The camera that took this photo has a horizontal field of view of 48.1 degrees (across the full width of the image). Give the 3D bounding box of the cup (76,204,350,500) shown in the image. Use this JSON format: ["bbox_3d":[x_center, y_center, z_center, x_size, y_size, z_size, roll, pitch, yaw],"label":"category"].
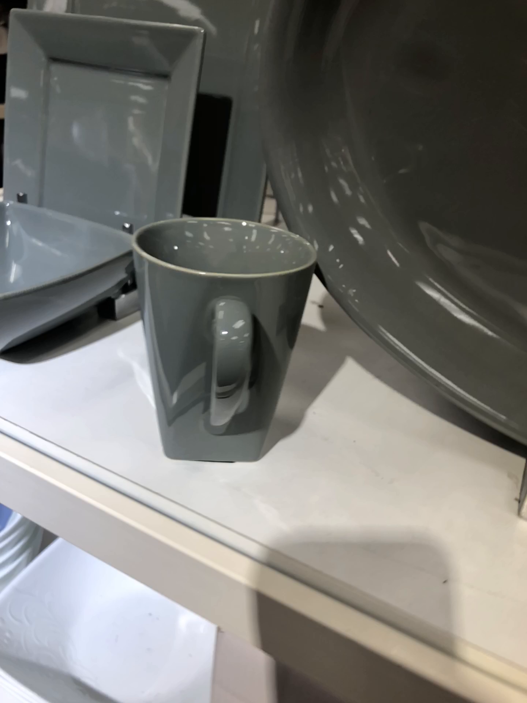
[{"bbox_3d":[-0.026,-0.006,0.290,0.100,0.097,0.118,2,28,-7],"label":"cup"}]
